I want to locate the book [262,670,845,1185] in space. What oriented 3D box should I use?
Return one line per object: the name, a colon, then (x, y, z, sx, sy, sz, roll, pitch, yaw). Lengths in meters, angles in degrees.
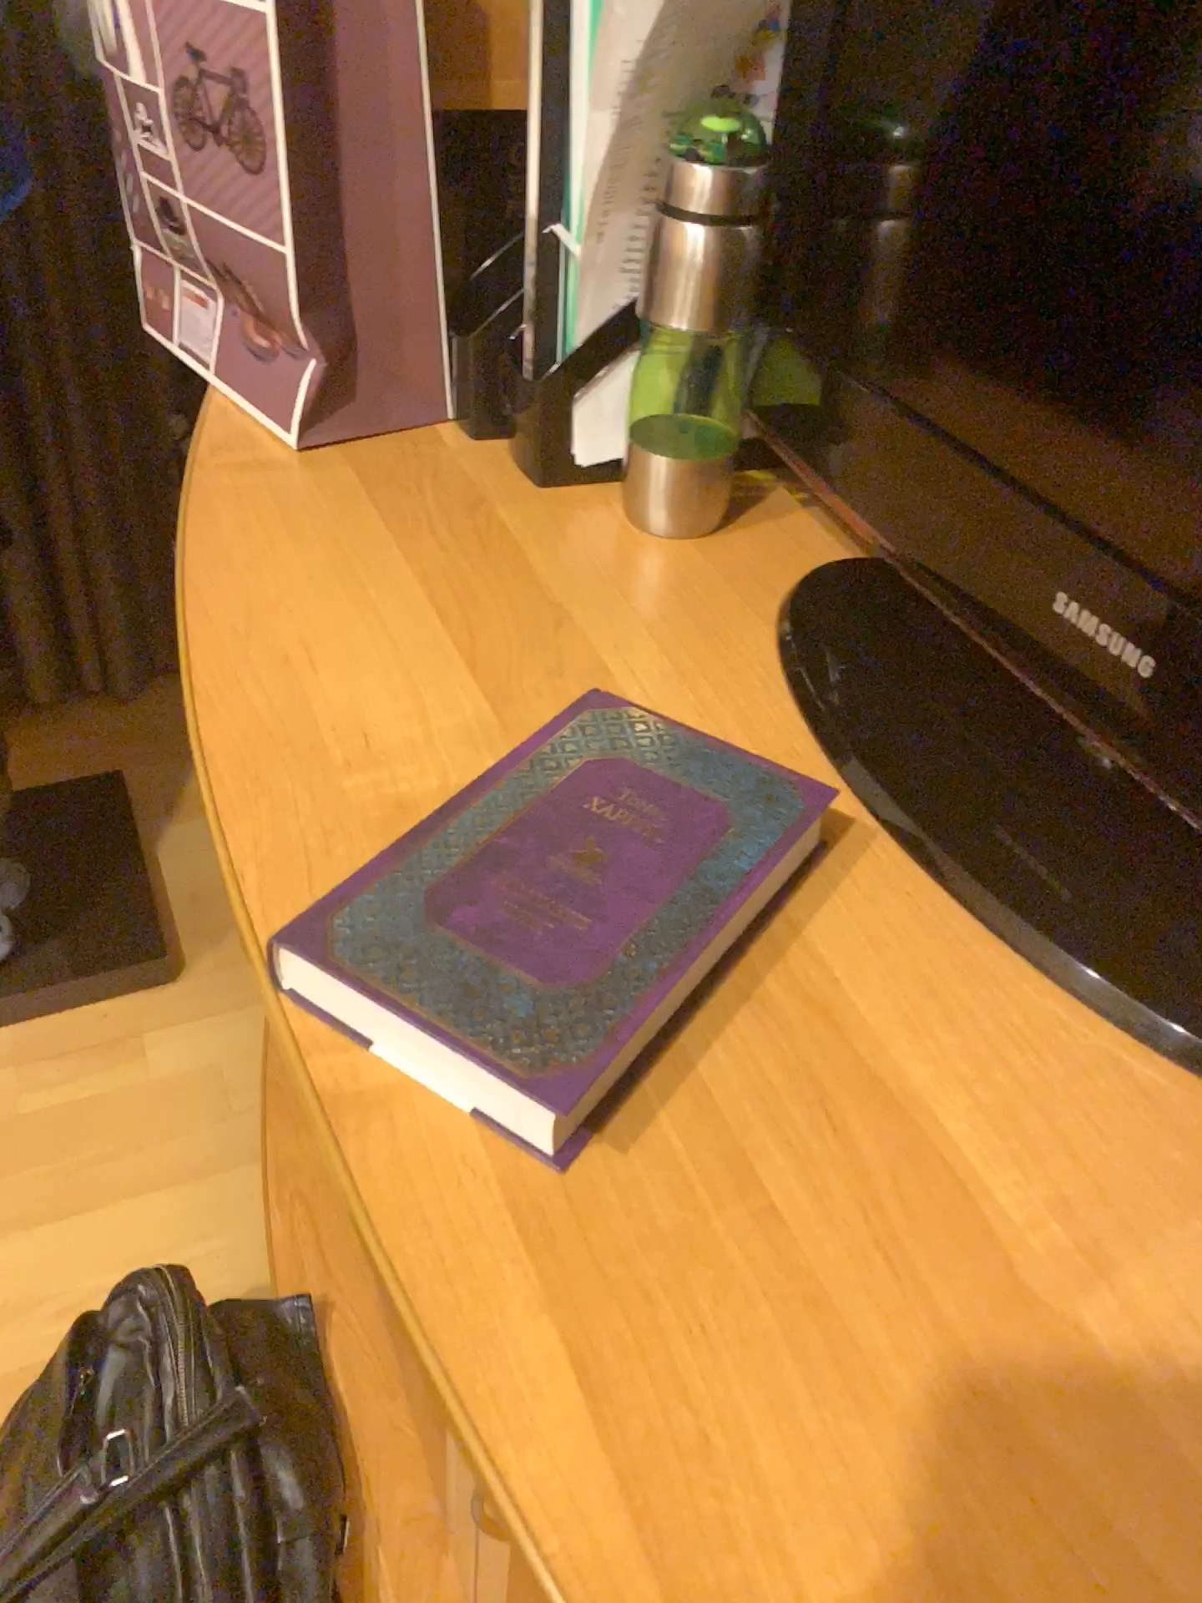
book: (-0.010, 0.033, 0.480, 0.130, 0.040, 0.201, 25, 44, 23)
